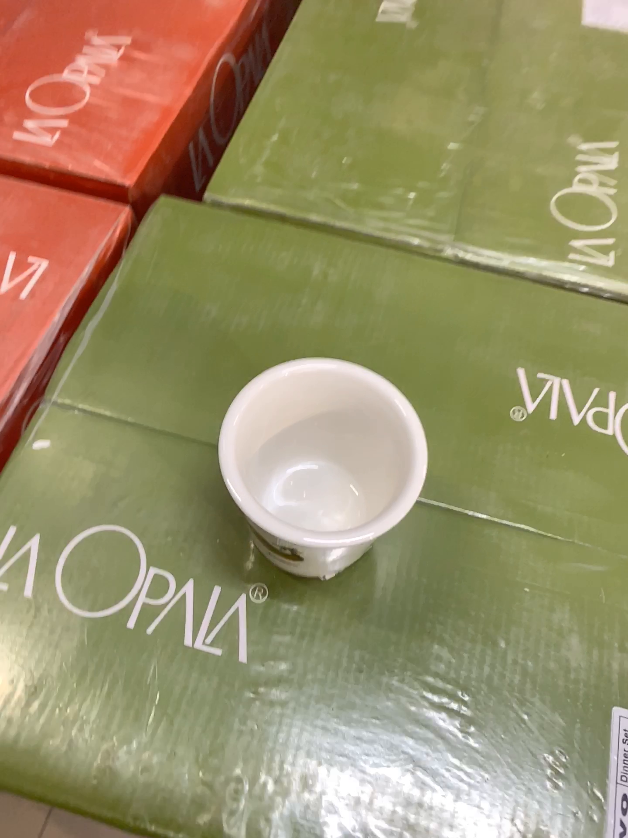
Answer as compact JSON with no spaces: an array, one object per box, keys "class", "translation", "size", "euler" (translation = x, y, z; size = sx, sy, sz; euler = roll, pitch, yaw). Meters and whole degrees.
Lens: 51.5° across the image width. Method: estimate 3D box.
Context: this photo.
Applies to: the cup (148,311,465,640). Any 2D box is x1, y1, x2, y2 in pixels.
[{"class":"cup","translation":[-0.004,0.020,0.228],"size":[0.070,0.060,0.070],"euler":[1,59,-2]}]
